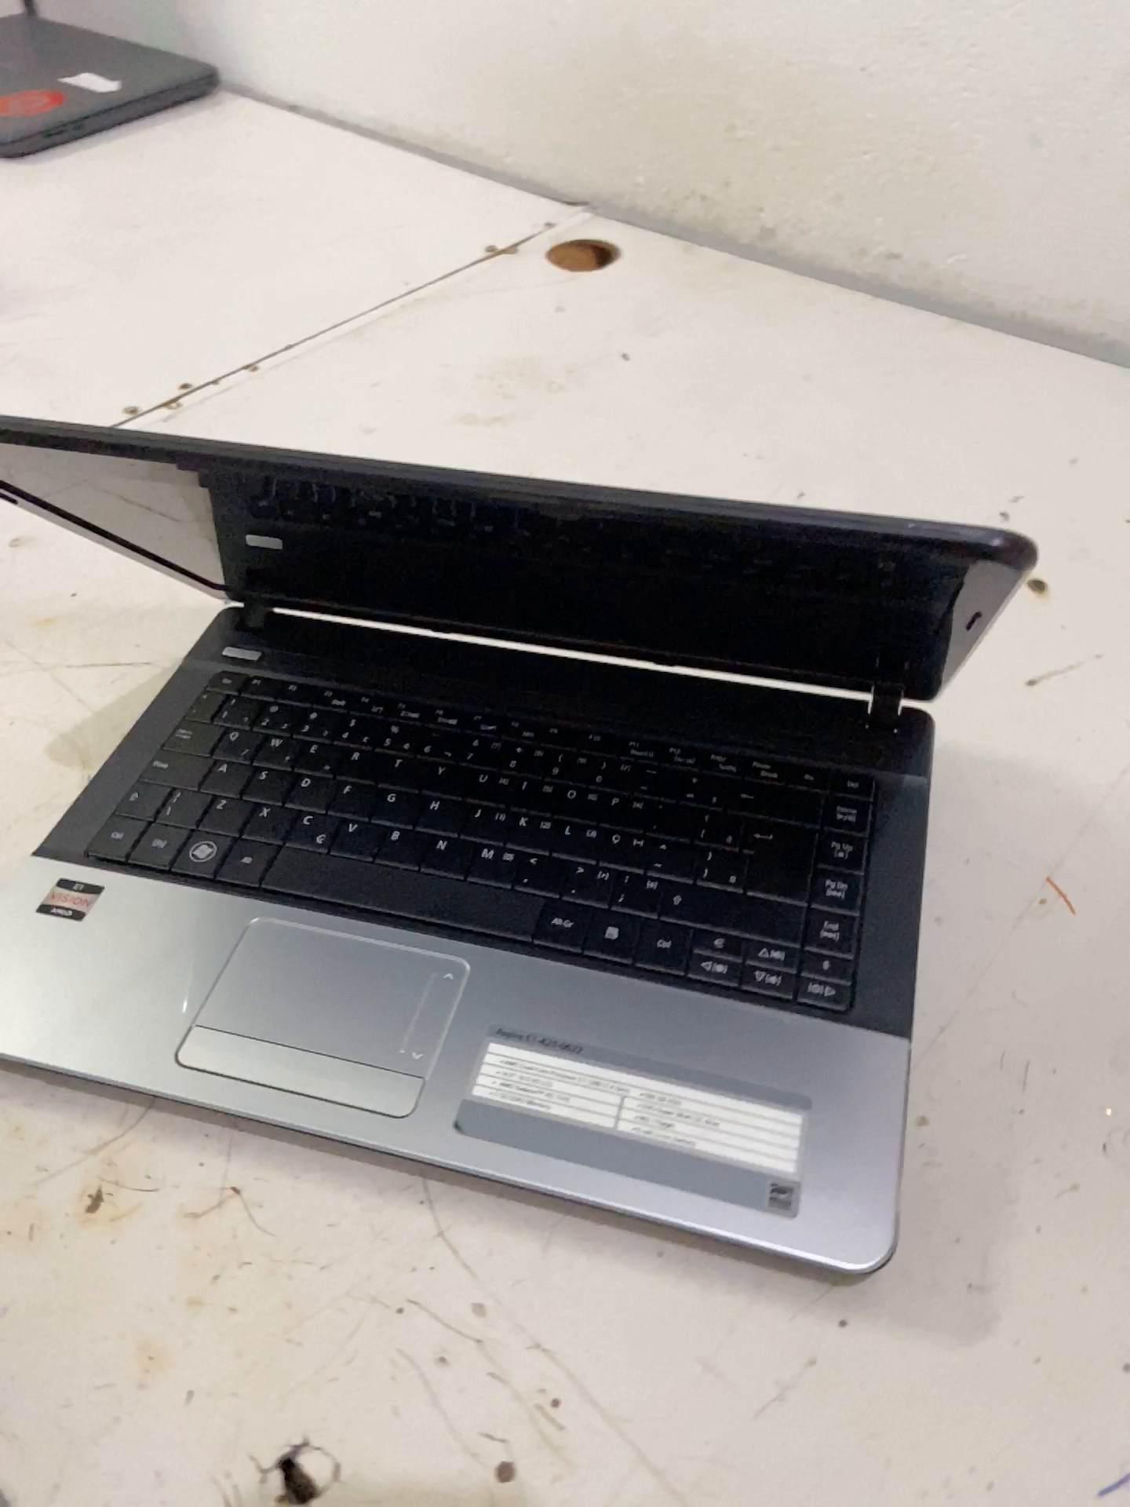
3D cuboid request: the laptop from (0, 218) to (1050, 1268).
[{"bbox_3d":[-0.040,-0.025,0.386,0.334,0.184,0.239,10,47,12],"label":"laptop"}]
